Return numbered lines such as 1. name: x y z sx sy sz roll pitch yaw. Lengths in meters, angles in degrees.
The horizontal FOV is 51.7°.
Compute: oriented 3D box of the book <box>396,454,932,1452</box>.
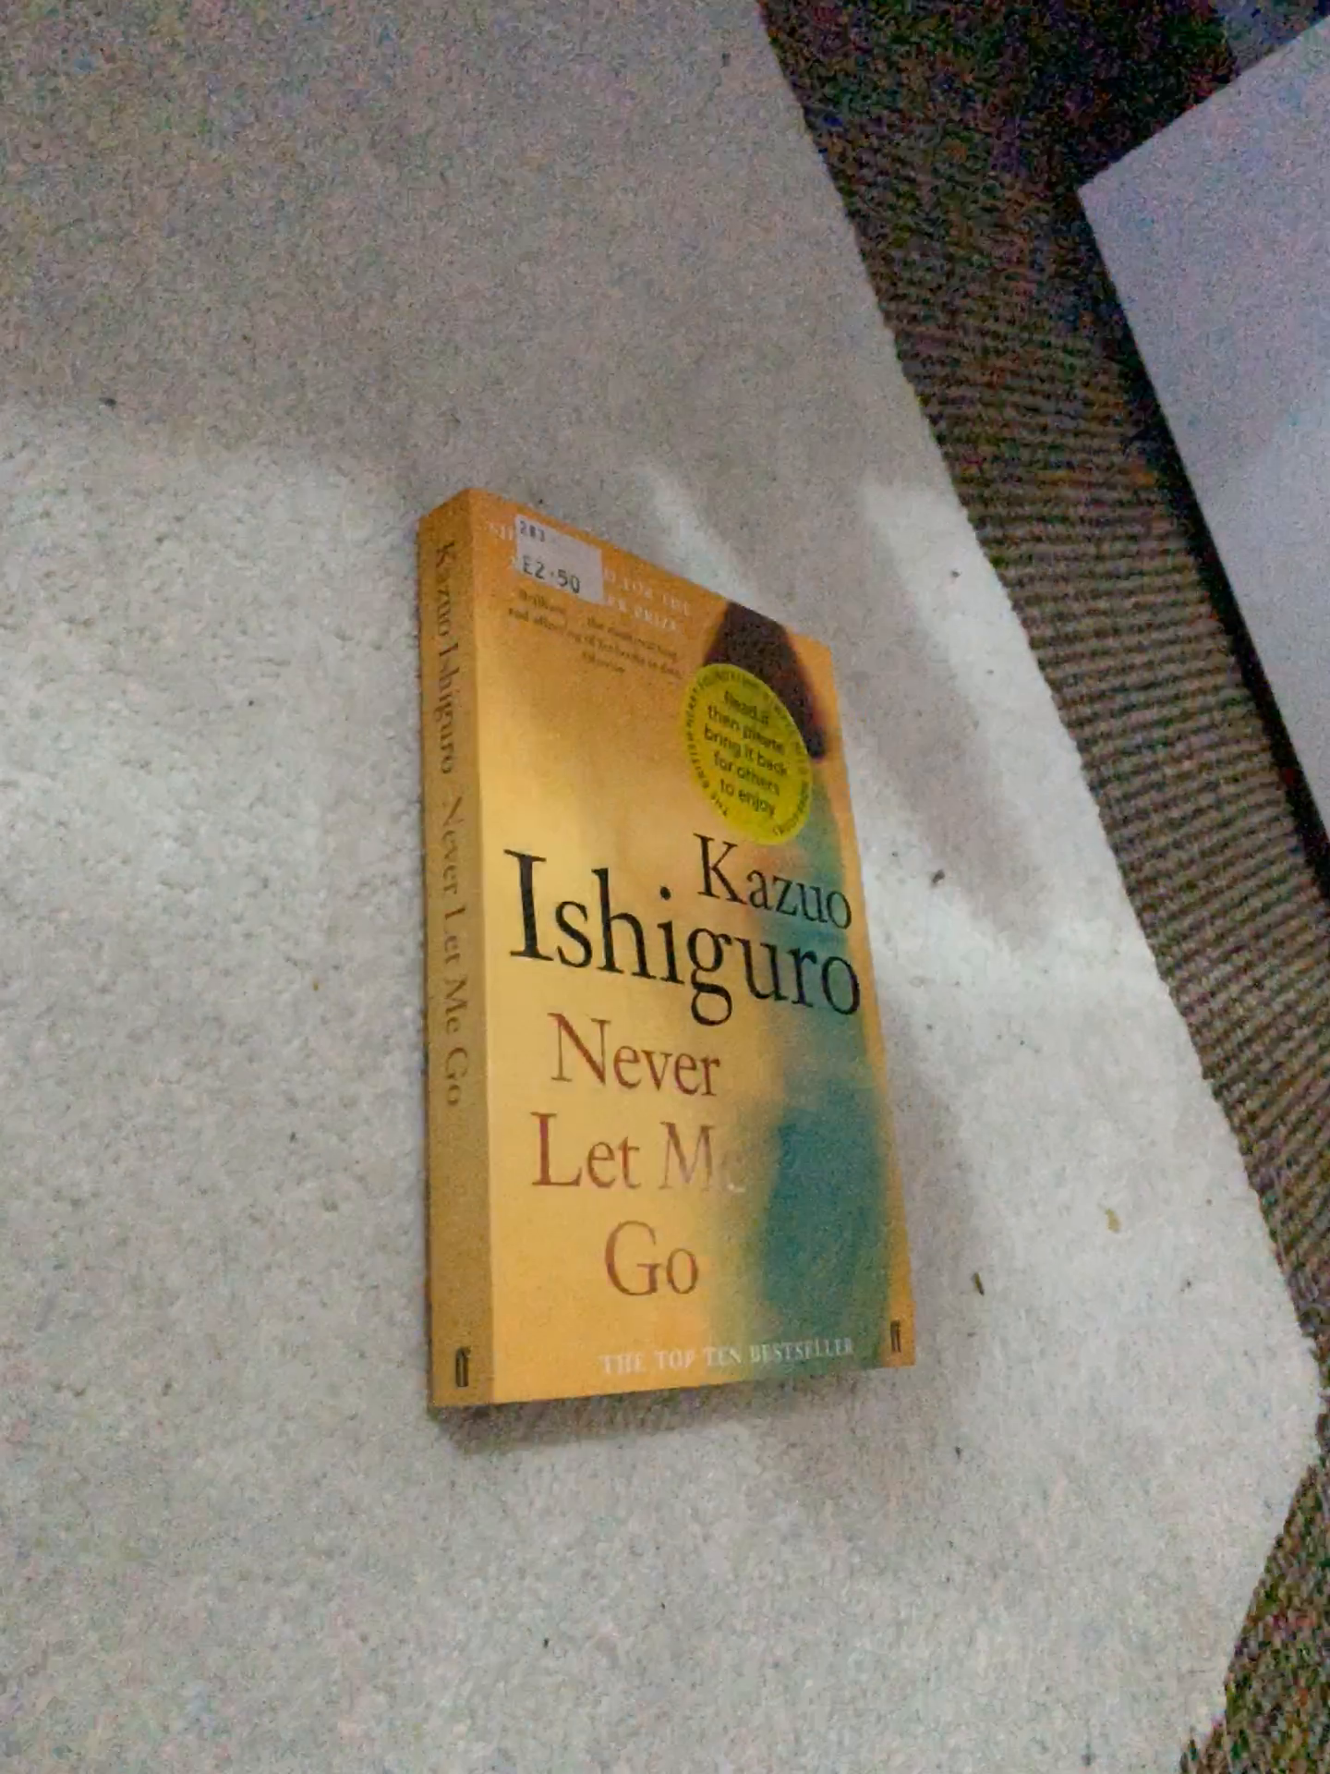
1. book: 0.002 0.016 0.331 0.141 0.020 0.211 14 64 -42
